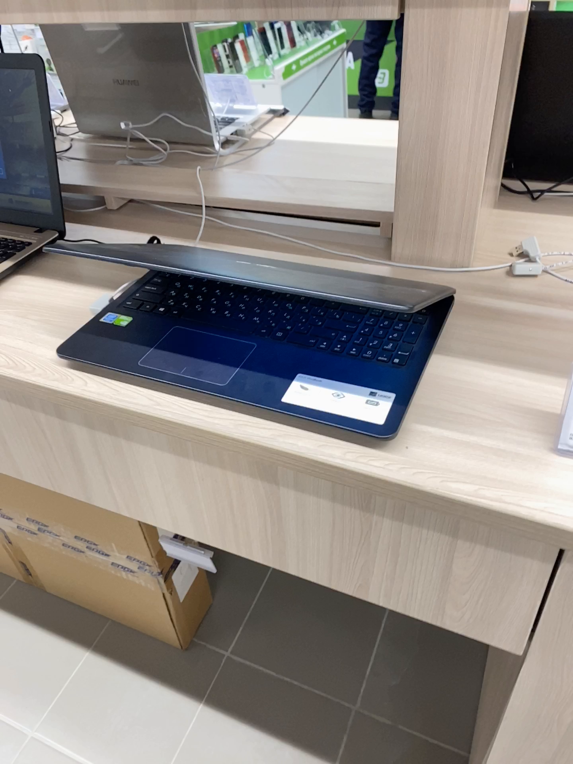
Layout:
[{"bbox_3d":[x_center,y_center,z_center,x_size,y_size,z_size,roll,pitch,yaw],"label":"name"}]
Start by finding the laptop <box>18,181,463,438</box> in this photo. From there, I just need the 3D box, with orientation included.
[{"bbox_3d":[-0.039,-0.103,0.619,0.386,0.098,0.236,13,42,21],"label":"laptop"}]
